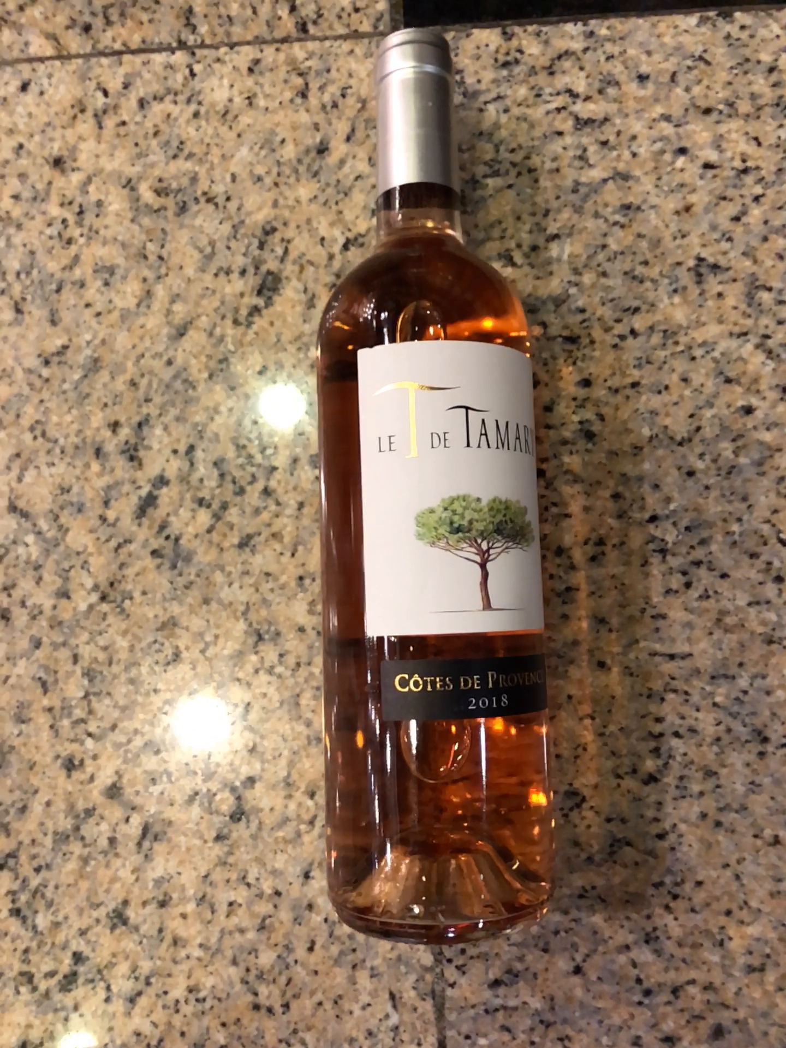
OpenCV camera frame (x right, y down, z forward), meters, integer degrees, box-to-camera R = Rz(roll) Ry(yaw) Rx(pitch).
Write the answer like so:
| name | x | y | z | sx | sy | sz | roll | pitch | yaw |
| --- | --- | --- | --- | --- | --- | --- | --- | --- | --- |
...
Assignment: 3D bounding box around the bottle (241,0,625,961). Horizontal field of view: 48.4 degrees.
| name | x | y | z | sx | sy | sz | roll | pitch | yaw |
| --- | --- | --- | --- | --- | --- | --- | --- | --- | --- |
| bottle | 0.009 | -0.046 | 0.275 | 0.090 | 0.080 | 0.320 | -3 | 84 | 4 |
